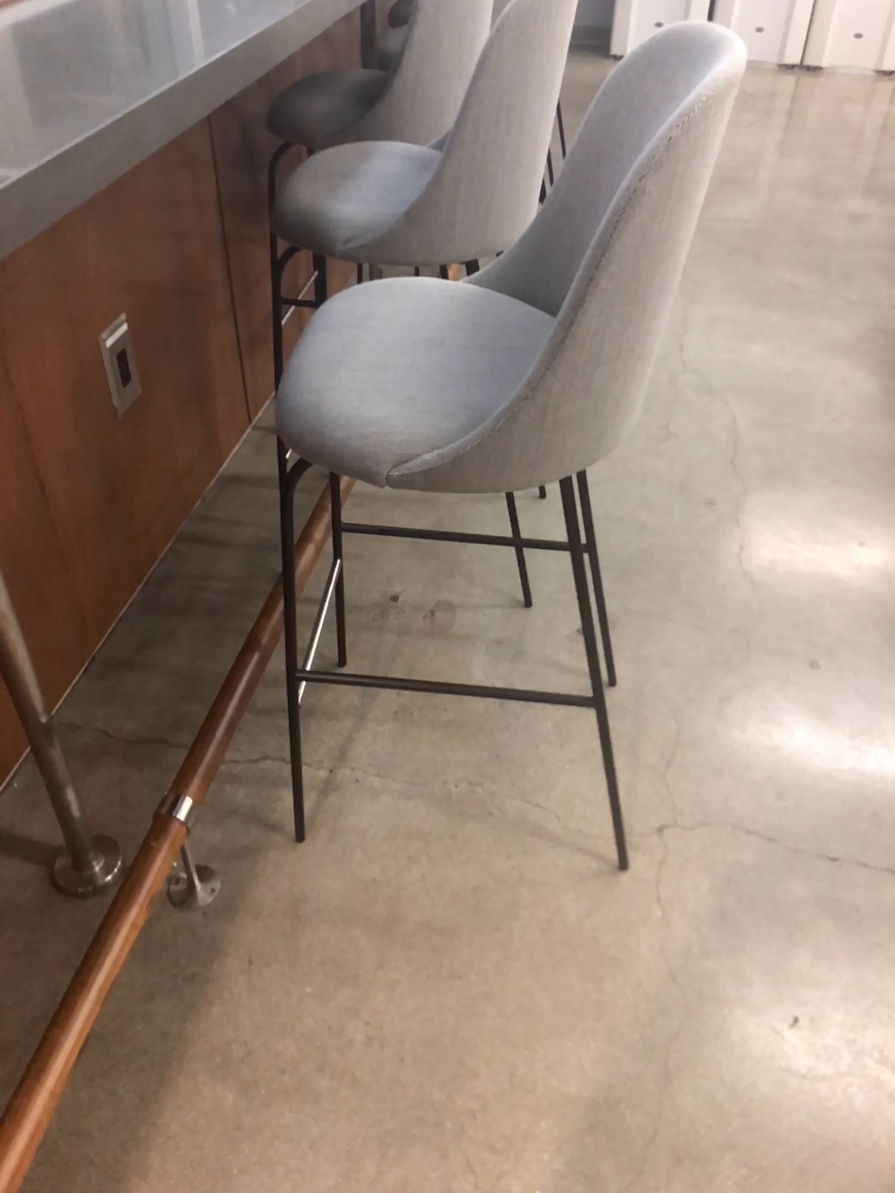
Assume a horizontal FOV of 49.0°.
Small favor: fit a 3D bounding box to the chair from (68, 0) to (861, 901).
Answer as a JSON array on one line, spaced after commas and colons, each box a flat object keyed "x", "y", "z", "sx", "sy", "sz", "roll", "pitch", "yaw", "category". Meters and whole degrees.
[{"x": 0.026, "y": -0.157, "z": 1.322, "sx": 0.630, "sy": 1.090, "sz": 0.515, "roll": 4, "pitch": 40, "yaw": 4, "category": "chair"}]
